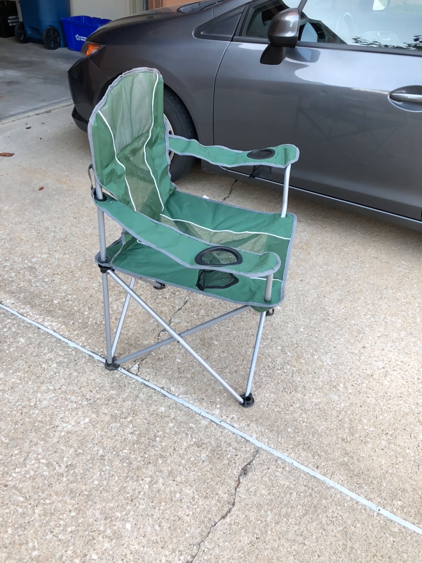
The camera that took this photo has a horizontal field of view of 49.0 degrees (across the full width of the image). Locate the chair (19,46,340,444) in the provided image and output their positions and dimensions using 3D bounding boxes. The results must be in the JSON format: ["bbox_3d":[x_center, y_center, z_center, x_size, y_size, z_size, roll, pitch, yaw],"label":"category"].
[{"bbox_3d":[-0.015,-0.168,1.508,0.640,0.907,0.822,11,36,10],"label":"chair"}]
